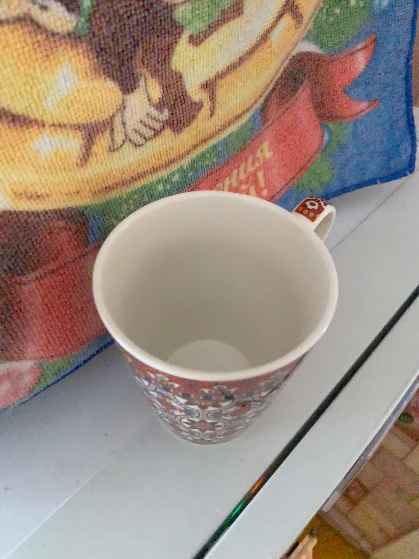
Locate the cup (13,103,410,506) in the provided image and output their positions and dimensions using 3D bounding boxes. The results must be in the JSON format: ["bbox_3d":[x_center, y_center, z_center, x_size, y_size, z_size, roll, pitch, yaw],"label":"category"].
[{"bbox_3d":[0.007,0.006,0.199,0.090,0.101,0.125,30,56,23],"label":"cup"}]
